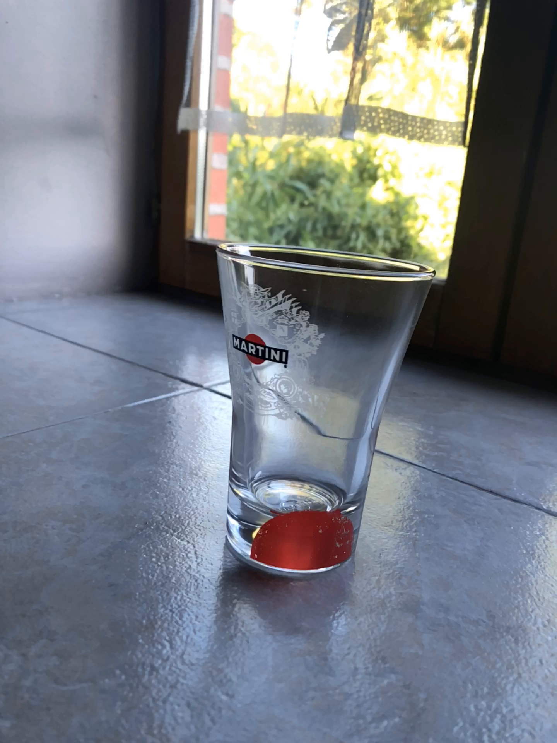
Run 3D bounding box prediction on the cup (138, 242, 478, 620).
[{"bbox_3d":[0.008,0.010,0.260,0.093,0.116,0.095,5,17,-1],"label":"cup"}]
